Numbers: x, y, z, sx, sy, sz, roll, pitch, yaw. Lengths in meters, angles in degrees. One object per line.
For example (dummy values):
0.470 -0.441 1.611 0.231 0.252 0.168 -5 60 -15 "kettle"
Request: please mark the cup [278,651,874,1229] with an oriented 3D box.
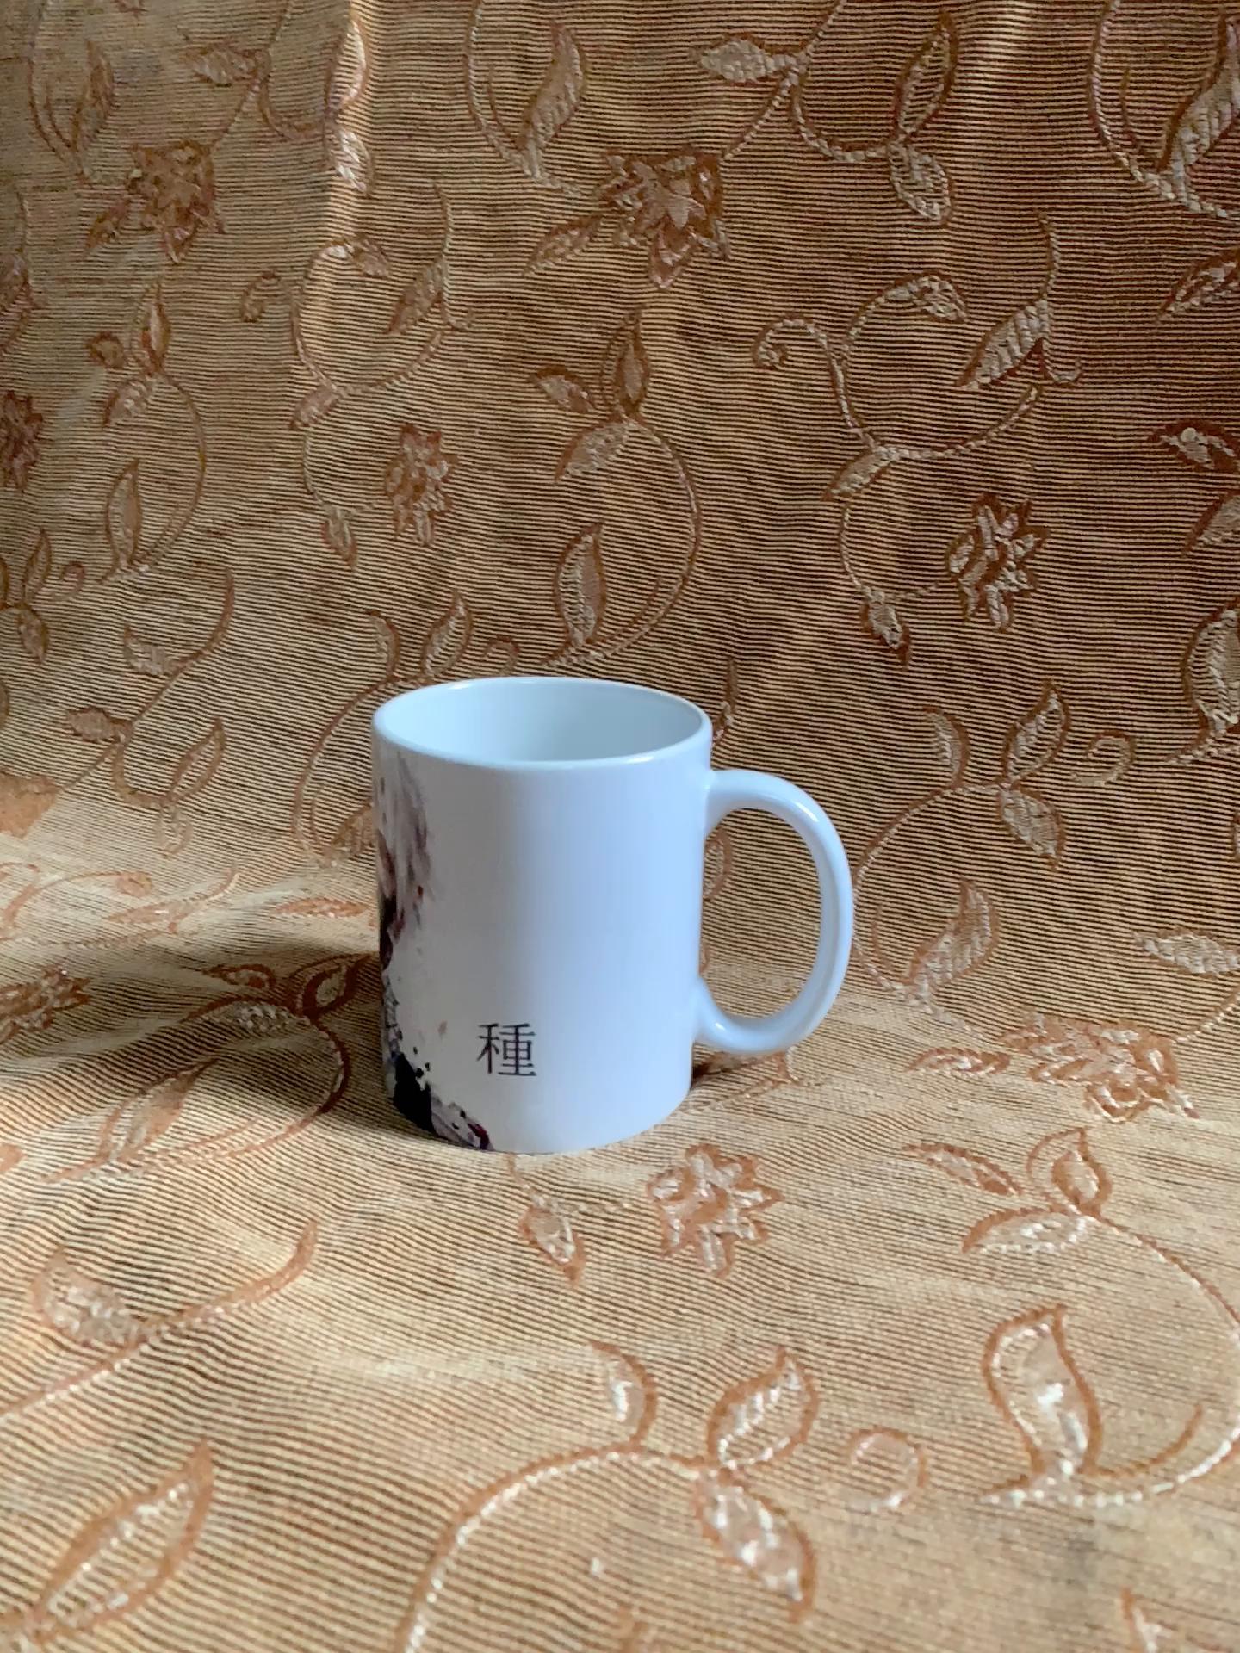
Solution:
-0.007 0.020 0.313 0.120 0.102 0.080 7 20 14 "cup"
